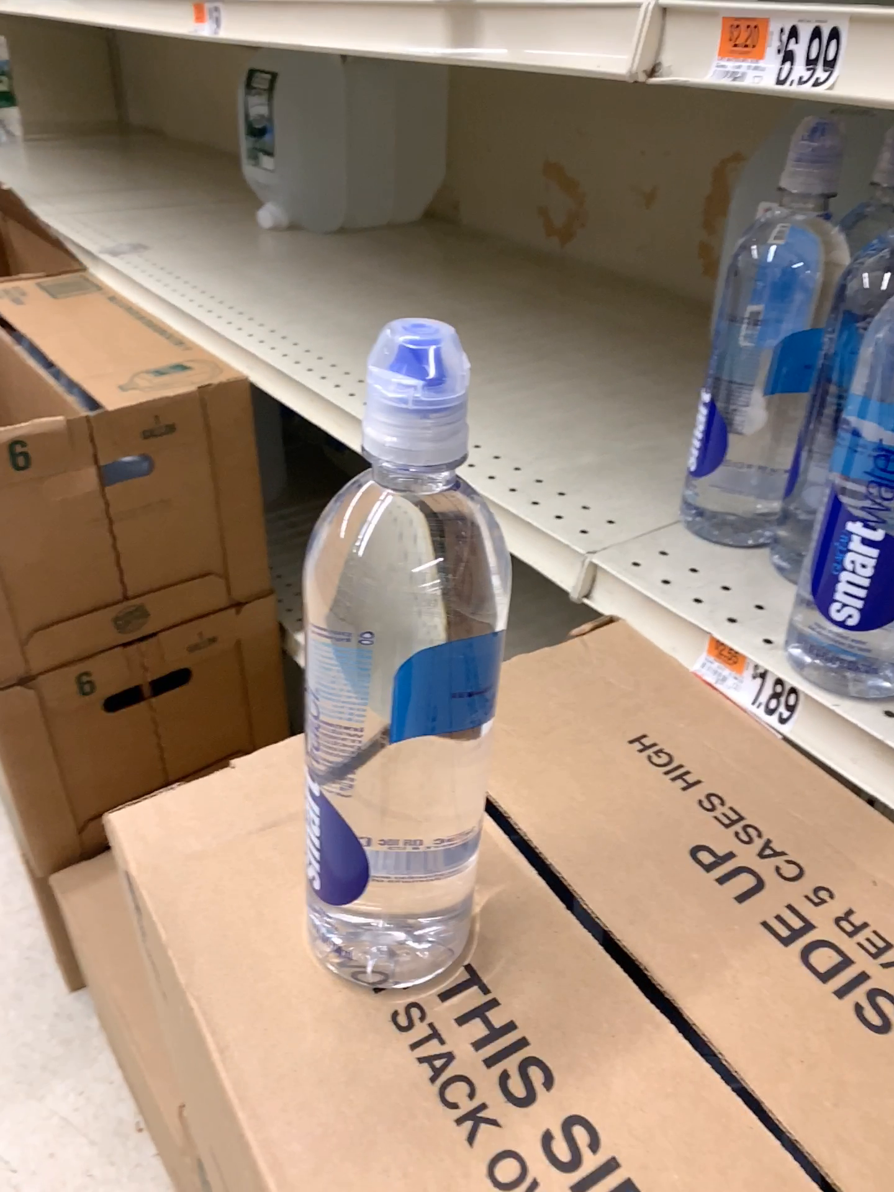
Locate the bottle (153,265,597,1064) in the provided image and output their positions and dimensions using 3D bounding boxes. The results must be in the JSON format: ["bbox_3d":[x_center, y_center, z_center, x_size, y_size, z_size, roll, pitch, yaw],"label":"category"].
[{"bbox_3d":[-0.025,0.030,0.314,0.090,0.249,0.090,1,33,-1],"label":"bottle"}]
